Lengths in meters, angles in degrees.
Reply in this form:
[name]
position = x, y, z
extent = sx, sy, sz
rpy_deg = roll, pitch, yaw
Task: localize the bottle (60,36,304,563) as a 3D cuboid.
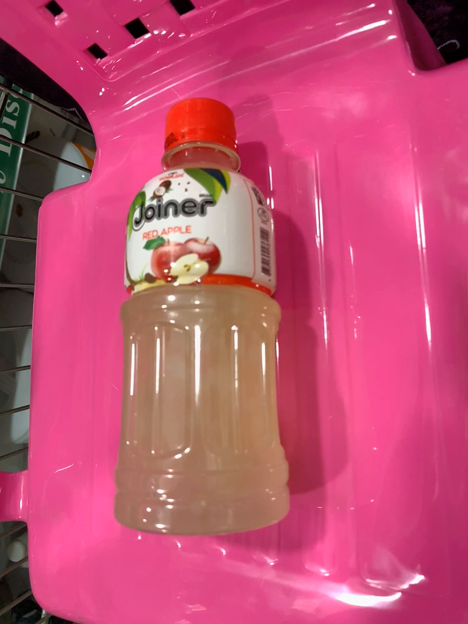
[bottle]
position = -0.021, -0.004, 0.183
extent = 0.070, 0.050, 0.160
rpy_deg = -7, 81, 29
